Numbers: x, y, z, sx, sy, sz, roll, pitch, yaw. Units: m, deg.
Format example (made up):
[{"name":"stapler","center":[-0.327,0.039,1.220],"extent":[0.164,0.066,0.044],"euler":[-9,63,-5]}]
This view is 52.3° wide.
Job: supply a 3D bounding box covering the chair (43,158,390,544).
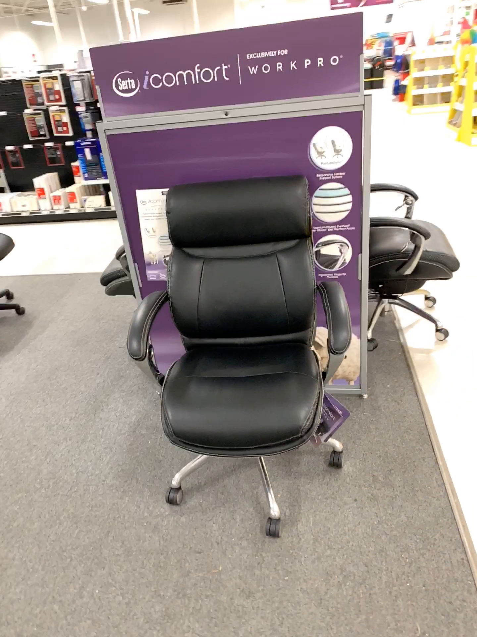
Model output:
[{"name":"chair","center":[0.029,0.069,1.583],"extent":[0.770,0.955,0.724],"euler":[-1,28,10]}]
